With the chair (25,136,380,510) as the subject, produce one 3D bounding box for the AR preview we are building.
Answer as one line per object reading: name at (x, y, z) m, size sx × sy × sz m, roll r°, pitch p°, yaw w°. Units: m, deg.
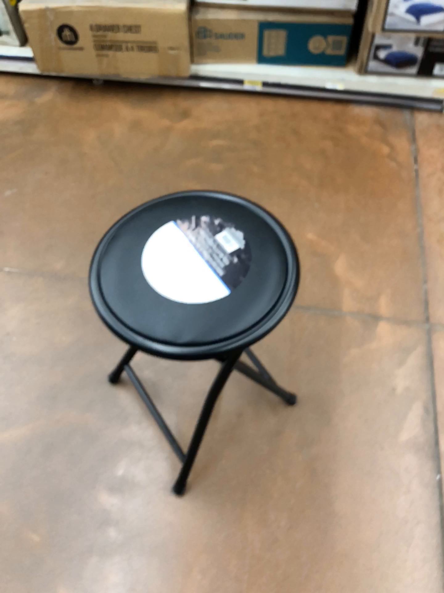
chair at (-0.027, 0.054, 0.798) m, size 0.330 × 0.399 × 0.321 m, roll -31°, pitch 59°, yaw -19°
